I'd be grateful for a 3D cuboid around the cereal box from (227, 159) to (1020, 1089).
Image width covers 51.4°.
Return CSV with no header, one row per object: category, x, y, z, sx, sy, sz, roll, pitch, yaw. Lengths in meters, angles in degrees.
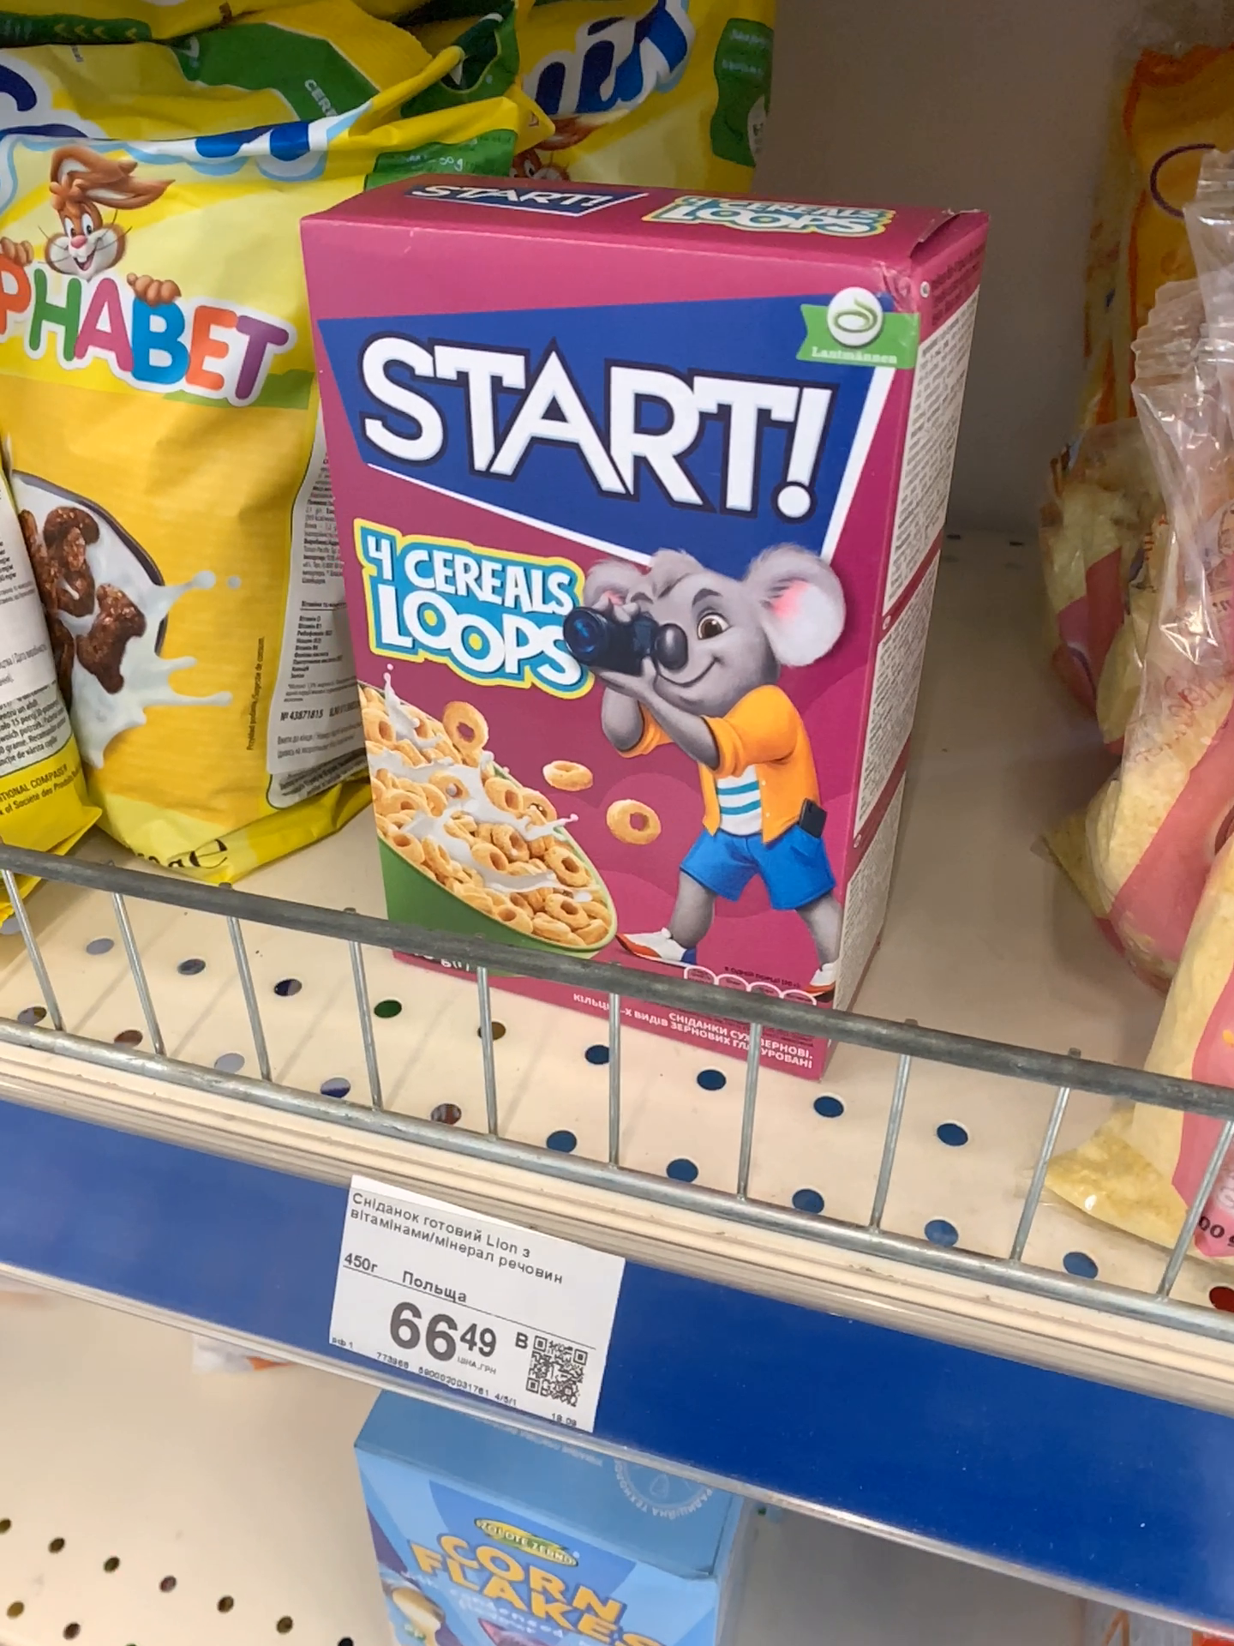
cereal box,0.002,-0.037,0.255,0.120,0.159,0.050,13,37,18
